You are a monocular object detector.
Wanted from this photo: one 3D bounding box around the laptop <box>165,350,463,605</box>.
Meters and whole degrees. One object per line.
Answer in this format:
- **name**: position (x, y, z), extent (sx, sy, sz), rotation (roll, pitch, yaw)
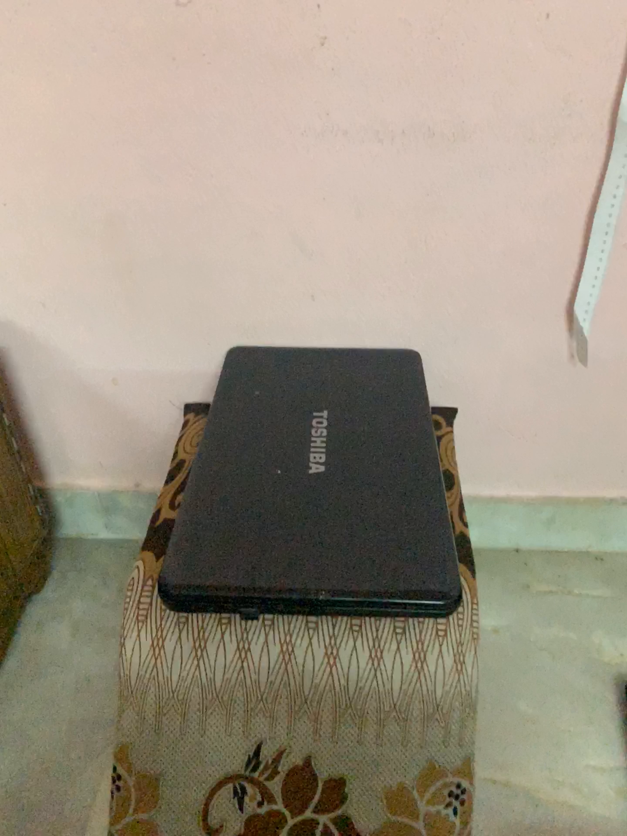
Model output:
- **laptop**: position (0.004, 0.027, 0.627), extent (0.222, 0.001, 0.372), rotation (0, 36, 2)
